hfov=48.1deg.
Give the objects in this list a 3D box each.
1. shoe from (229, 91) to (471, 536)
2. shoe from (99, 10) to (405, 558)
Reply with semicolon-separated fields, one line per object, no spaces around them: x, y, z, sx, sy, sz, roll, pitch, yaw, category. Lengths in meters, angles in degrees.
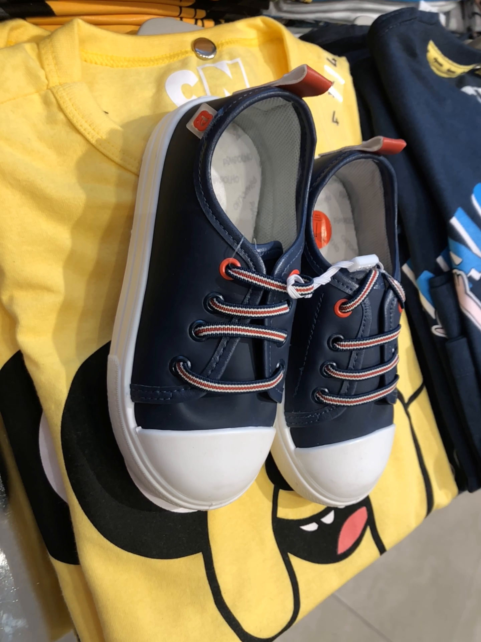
0.052;-0.005;0.257;0.080;0.070;0.170;-6;95;-34;shoe
0.003;-0.009;0.208;0.080;0.070;0.160;6;88;-33;shoe
